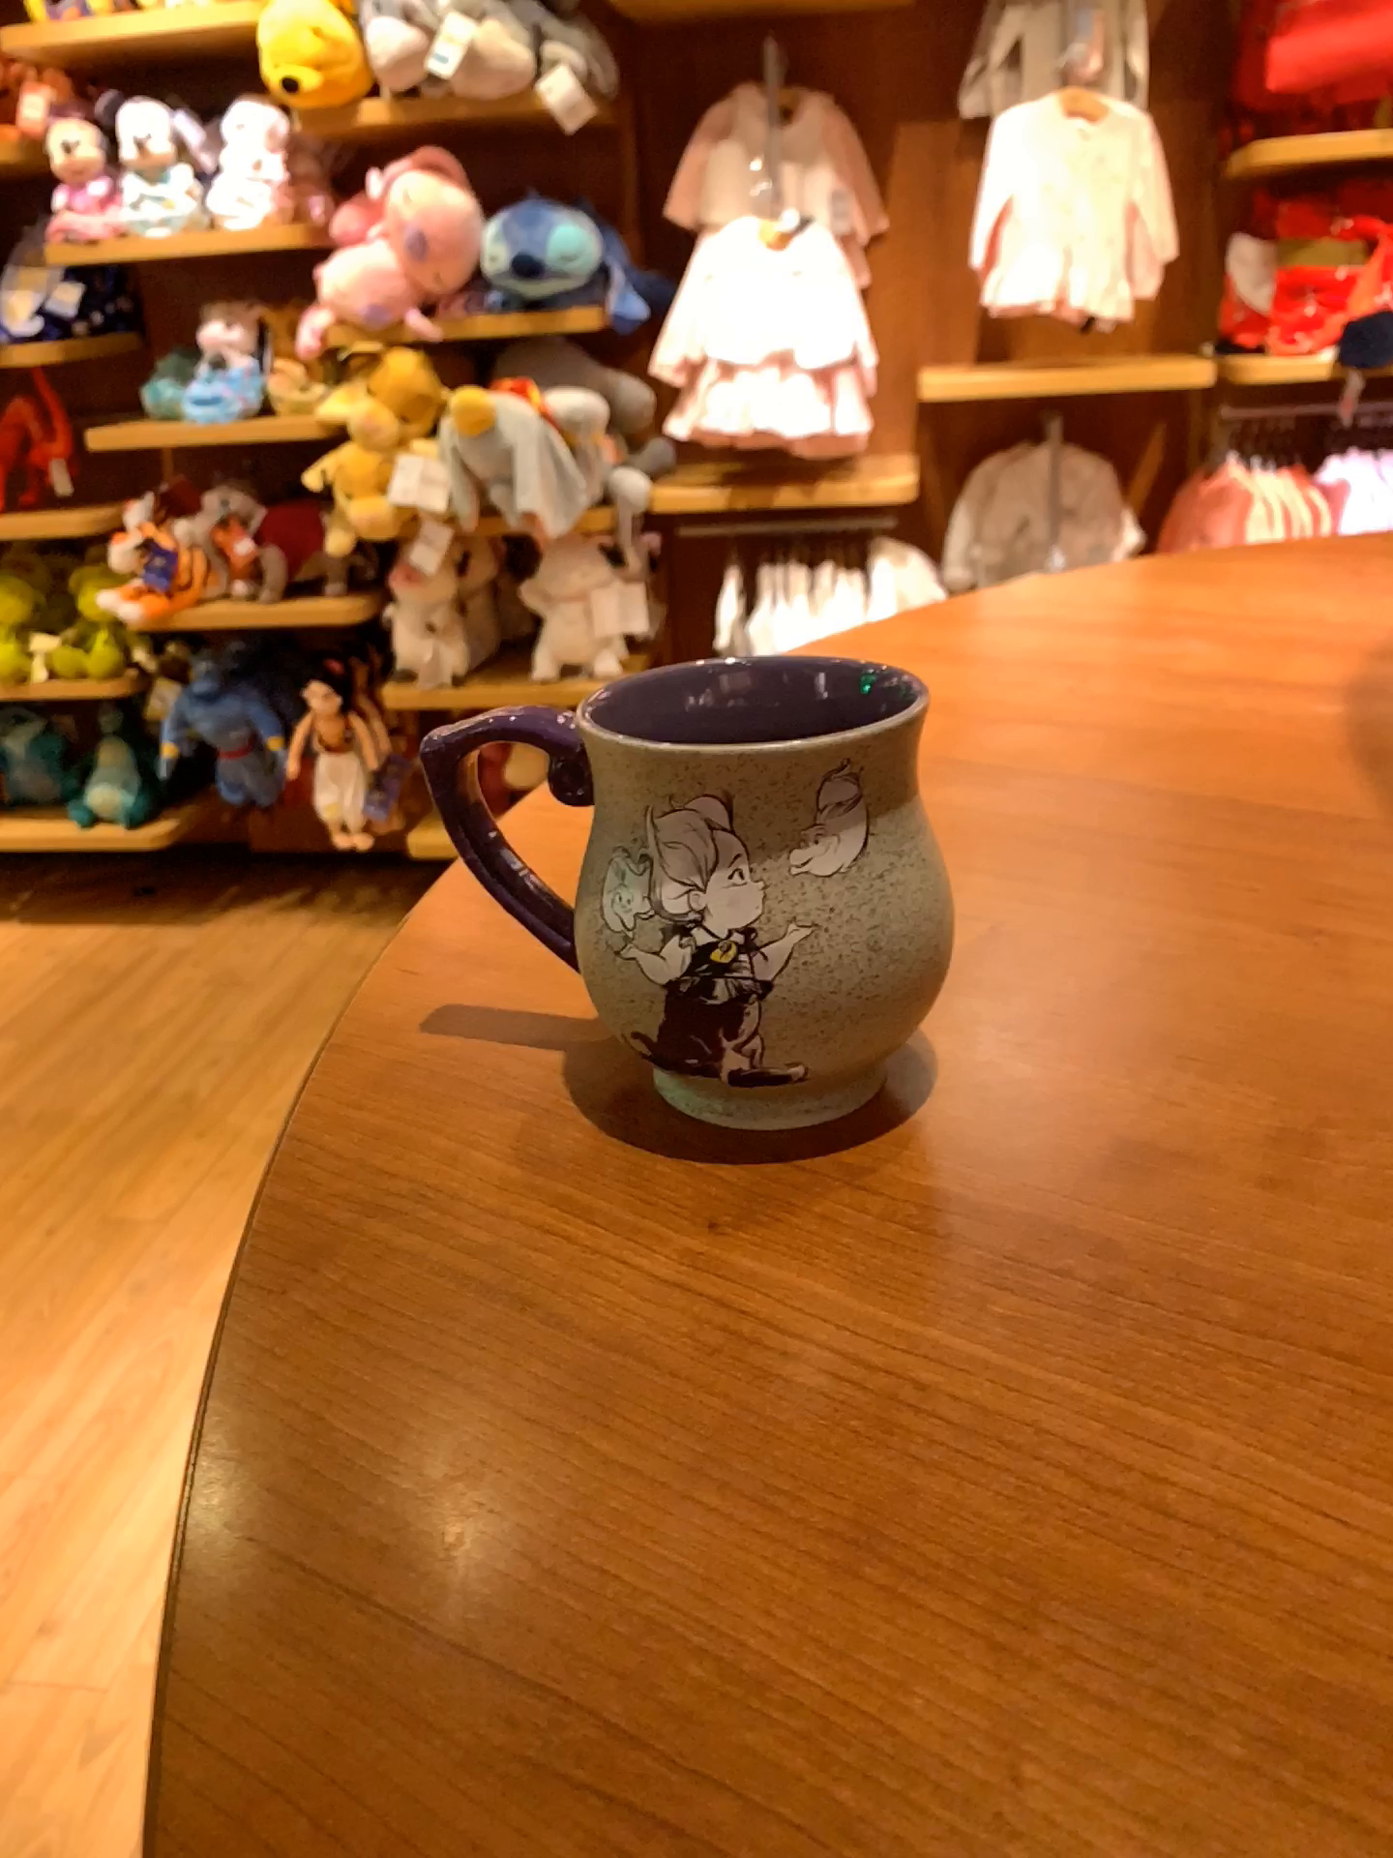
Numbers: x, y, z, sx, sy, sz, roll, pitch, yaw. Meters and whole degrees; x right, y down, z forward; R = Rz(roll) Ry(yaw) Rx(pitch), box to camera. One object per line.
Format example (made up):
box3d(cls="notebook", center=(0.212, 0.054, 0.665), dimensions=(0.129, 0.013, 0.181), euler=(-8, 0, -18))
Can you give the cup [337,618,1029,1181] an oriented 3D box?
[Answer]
box3d(cls="cup", center=(0.003, -0.019, 0.387), dimensions=(0.140, 0.099, 0.115), euler=(8, 26, 26))
